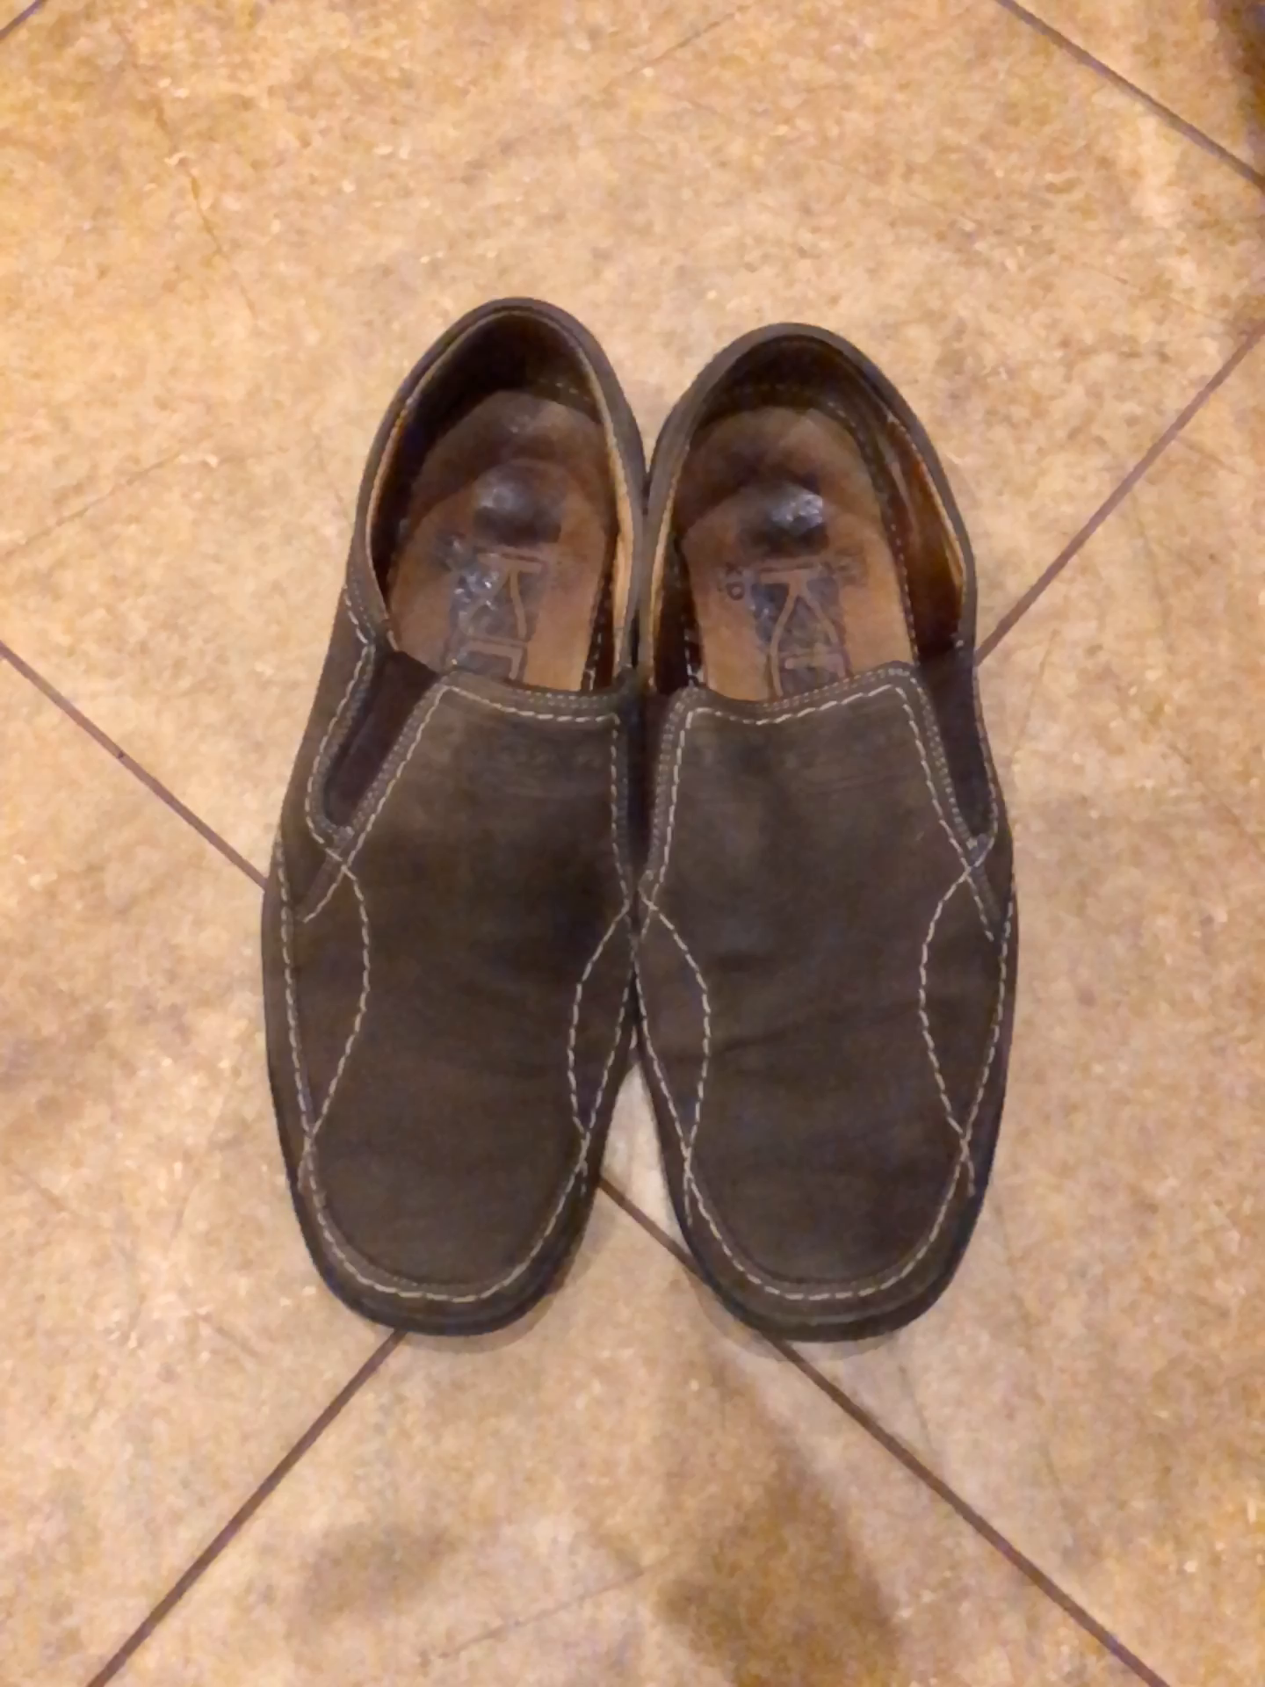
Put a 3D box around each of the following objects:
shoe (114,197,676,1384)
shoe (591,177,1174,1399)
[{"bbox_3d":[-0.051,-0.018,0.385,0.120,0.090,0.300,1,76,0],"label":"shoe"},{"bbox_3d":[0.052,-0.019,0.375,0.120,0.090,0.300,-1,76,0],"label":"shoe"}]
